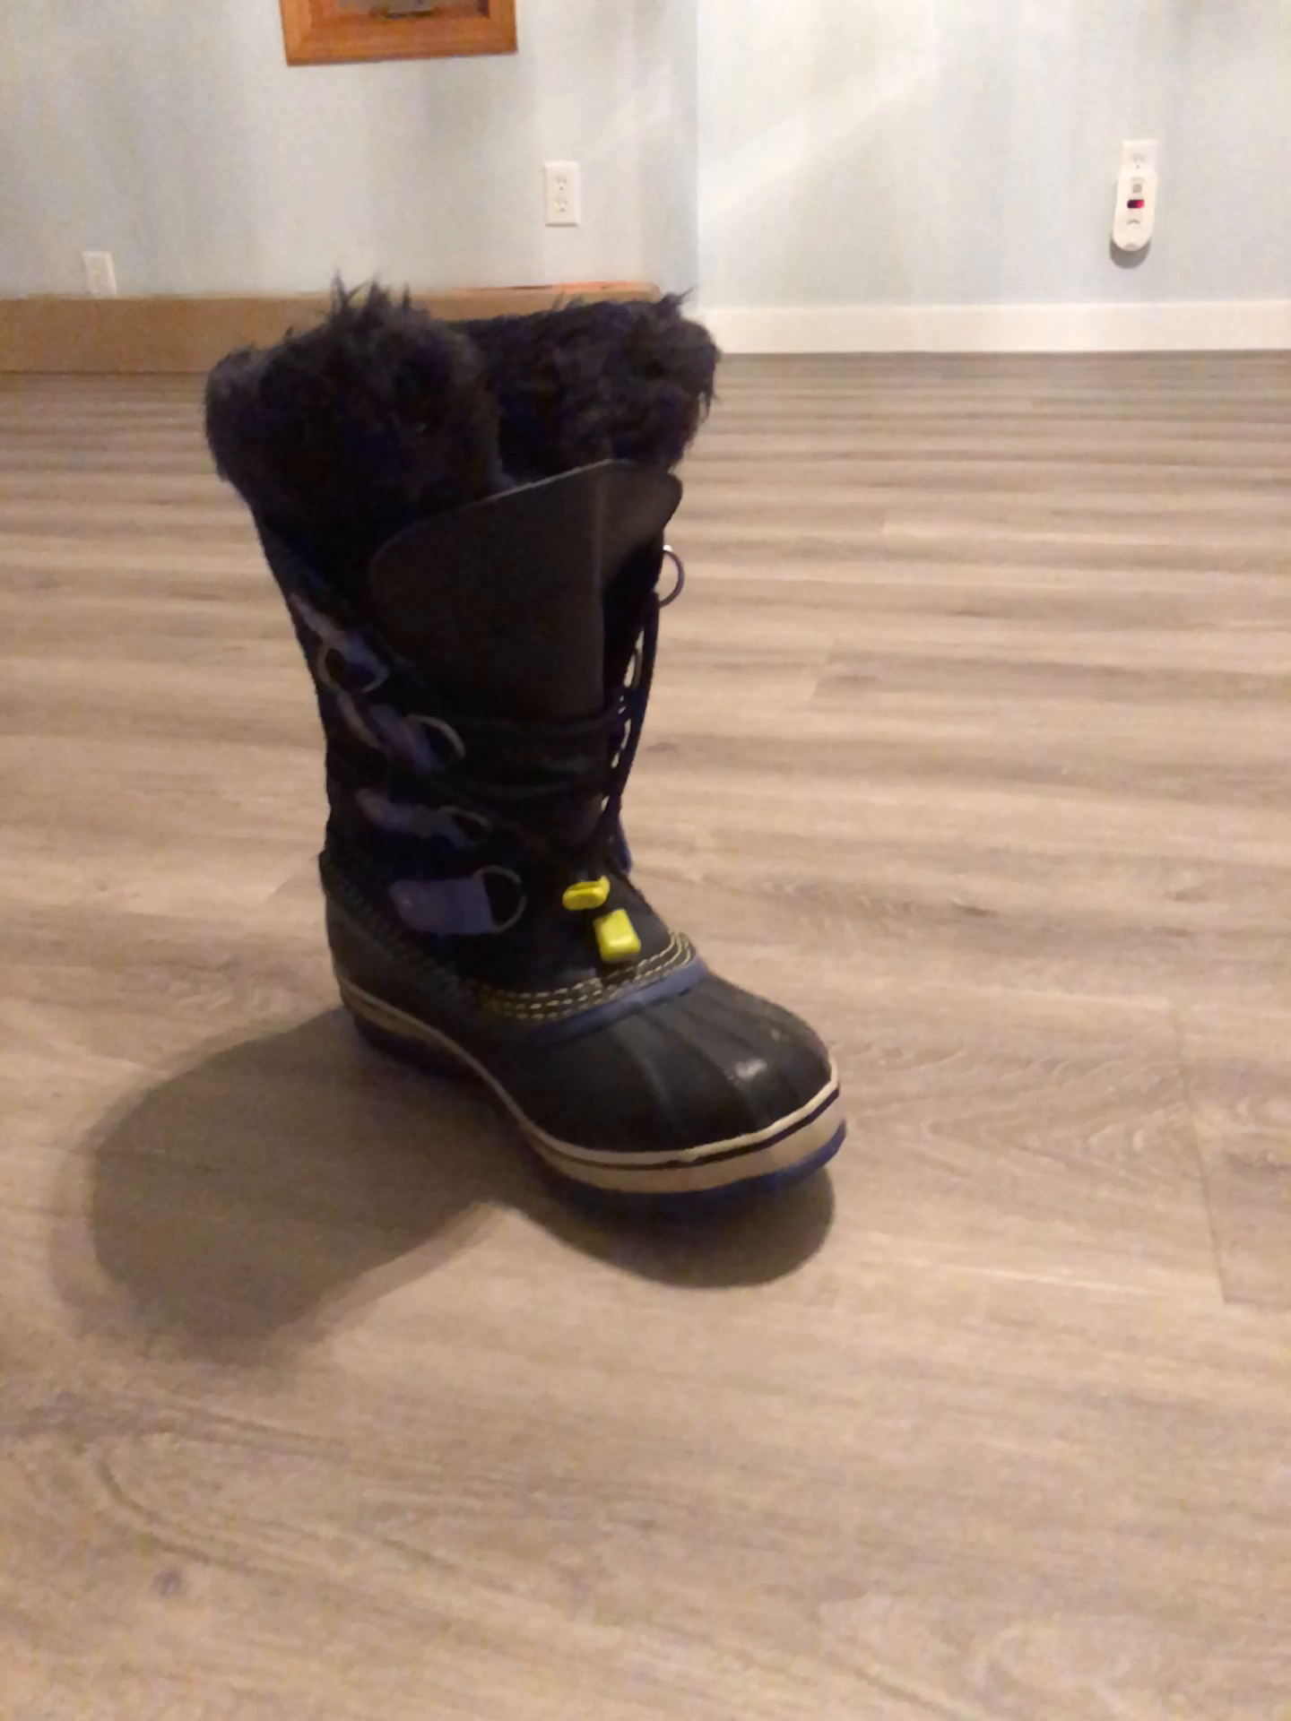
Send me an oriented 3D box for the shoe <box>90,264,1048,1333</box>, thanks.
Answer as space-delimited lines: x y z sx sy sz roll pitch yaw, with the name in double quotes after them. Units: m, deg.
-0.029 -0.051 0.479 0.170 0.269 0.241 -22 31 -38 "shoe"
